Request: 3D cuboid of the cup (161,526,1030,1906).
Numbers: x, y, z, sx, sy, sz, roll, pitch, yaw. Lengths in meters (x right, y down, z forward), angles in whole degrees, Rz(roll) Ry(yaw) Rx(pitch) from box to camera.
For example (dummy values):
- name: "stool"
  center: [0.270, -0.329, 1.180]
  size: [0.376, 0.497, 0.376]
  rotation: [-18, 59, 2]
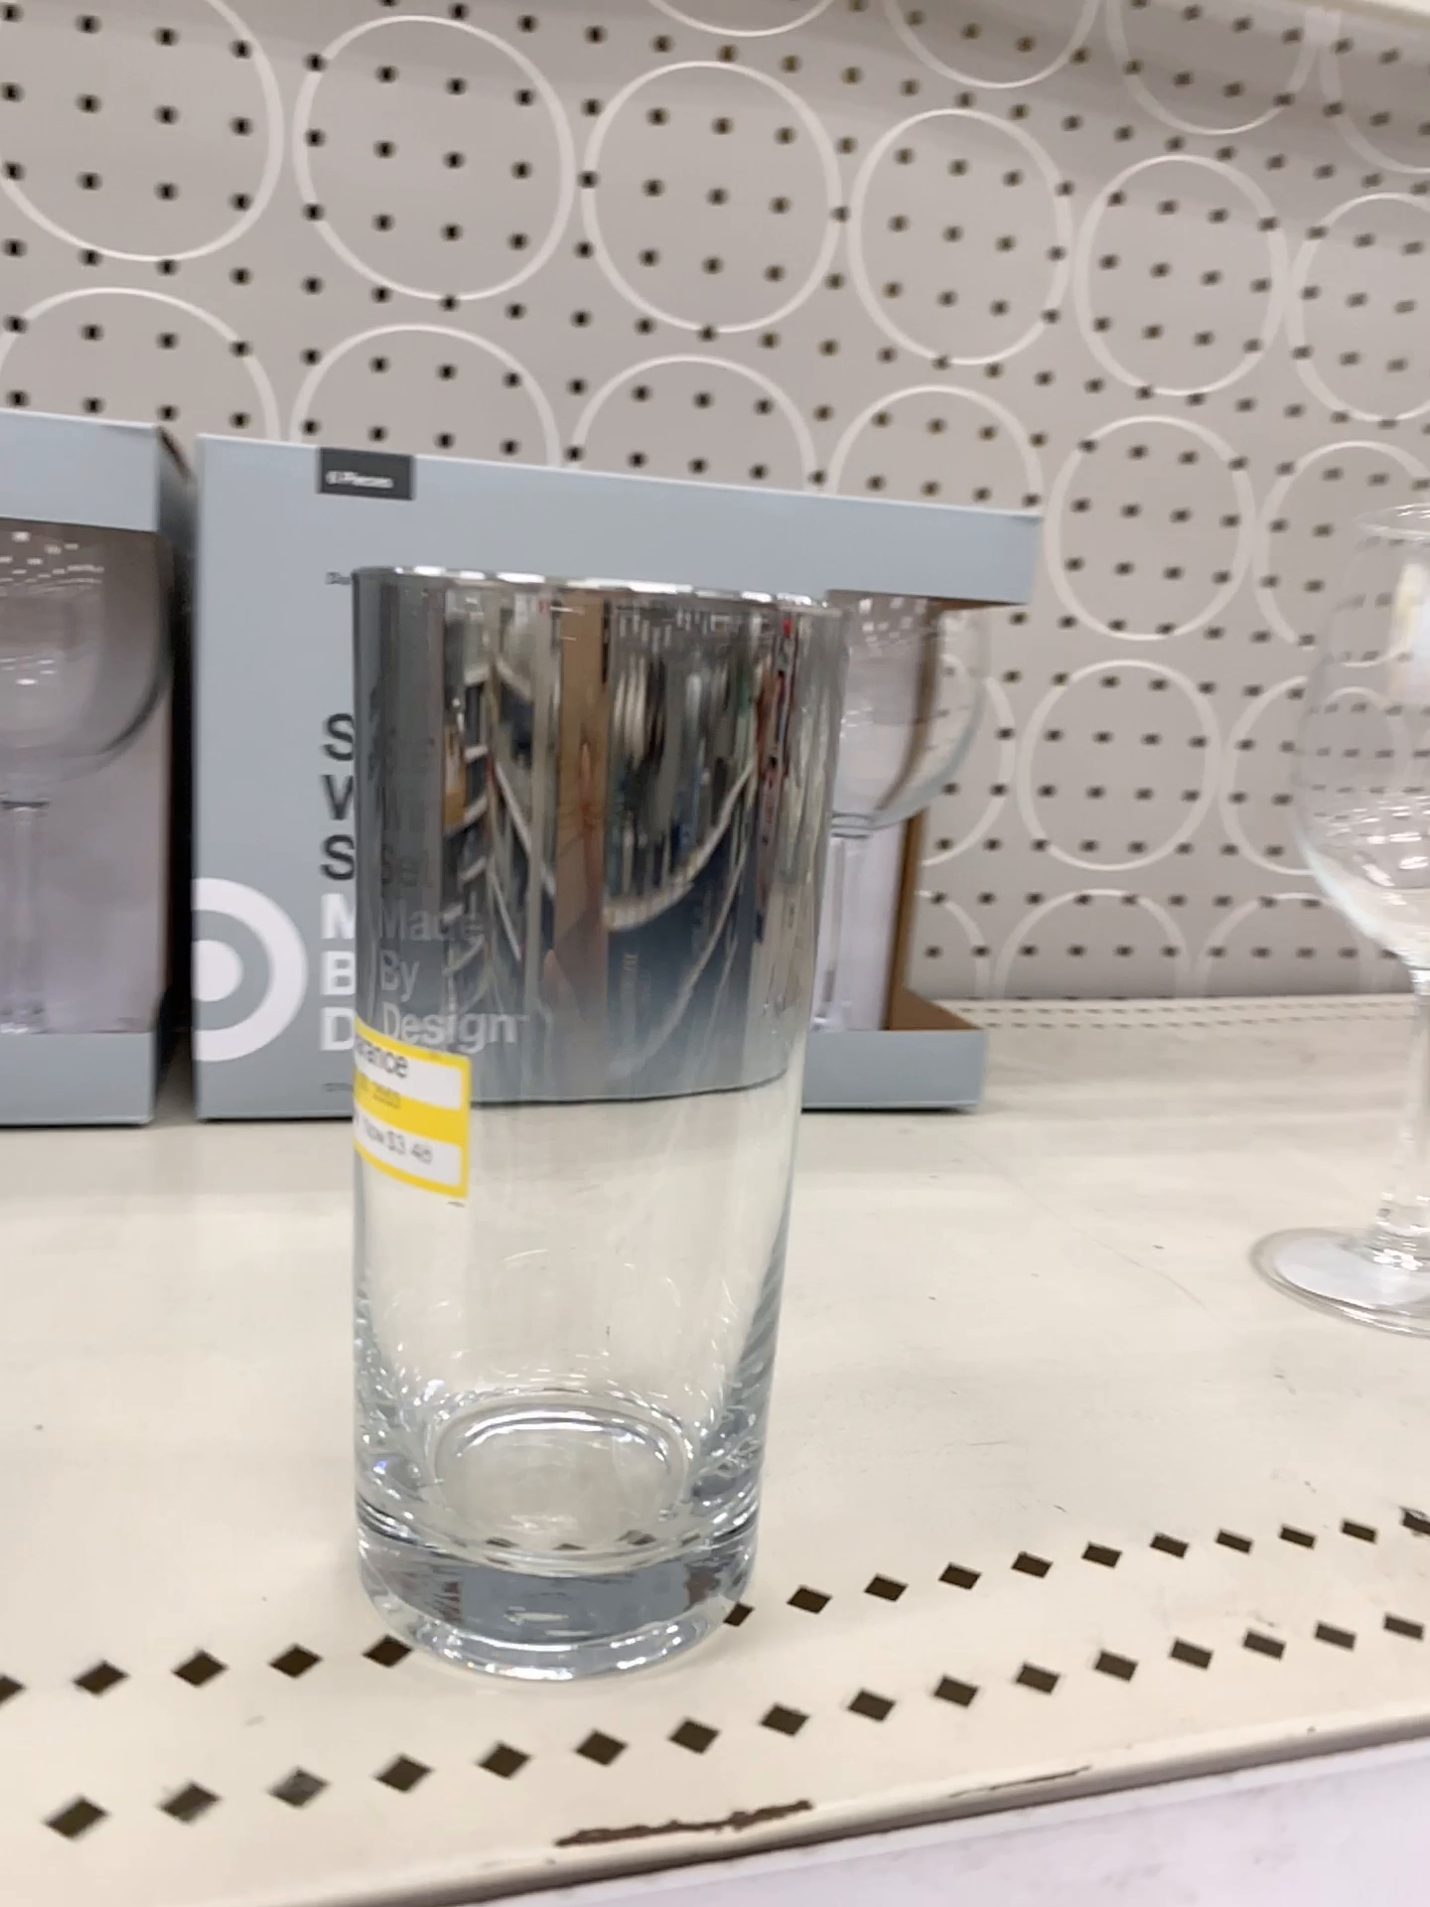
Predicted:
- name: "cup"
  center: [-0.022, 0.023, 0.206]
  size: [0.080, 0.150, 0.080]
  rotation: [4, 12, -1]
